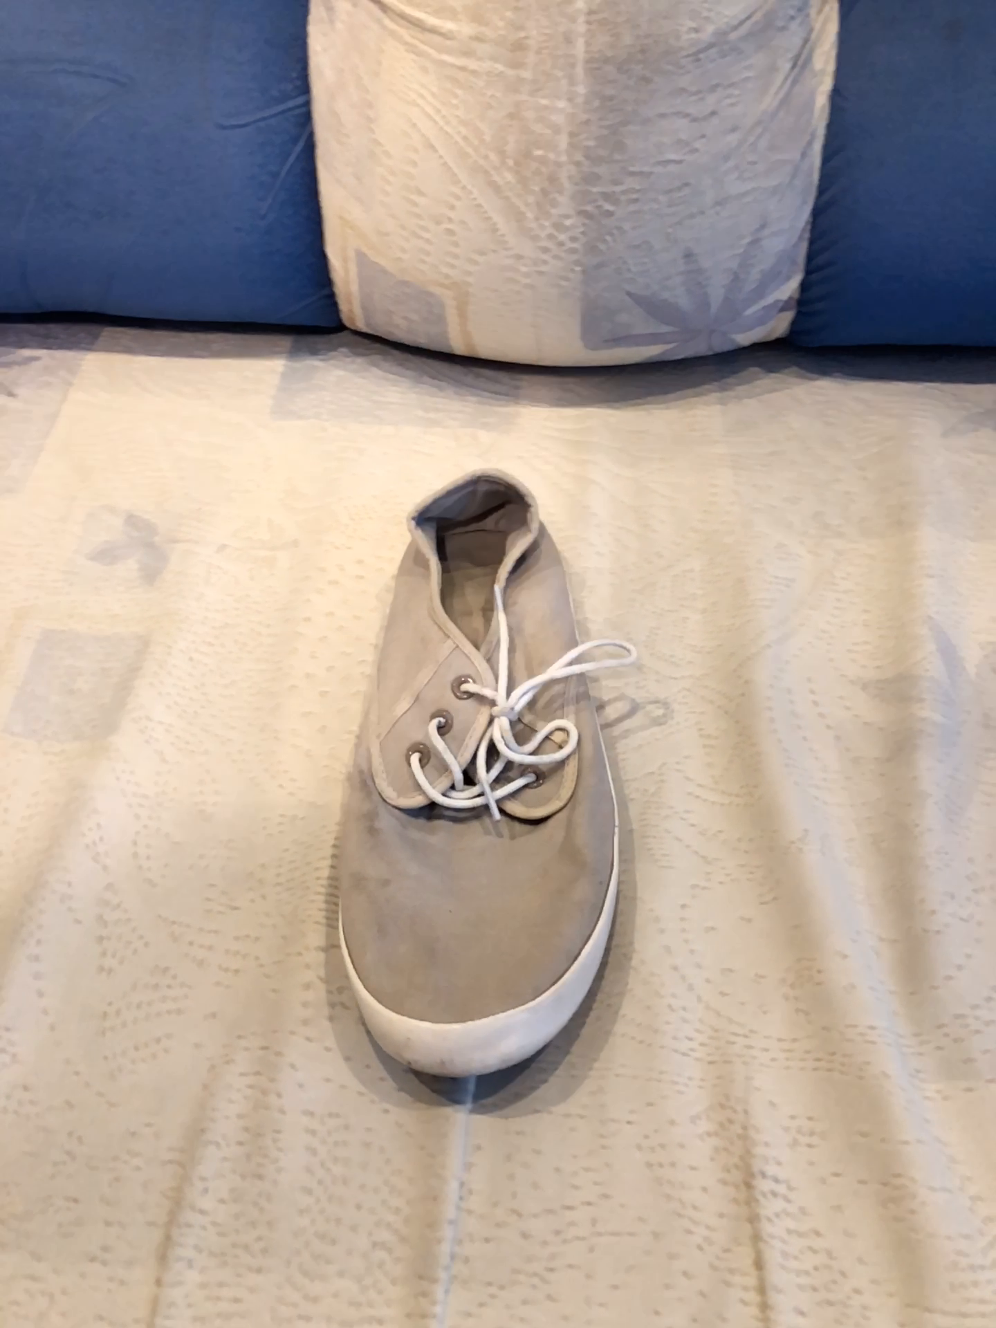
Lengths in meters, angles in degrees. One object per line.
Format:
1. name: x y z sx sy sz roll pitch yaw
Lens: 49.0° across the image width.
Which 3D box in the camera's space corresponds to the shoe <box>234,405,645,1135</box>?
1. shoe: -0.009 0.020 0.409 0.110 0.079 0.272 2 50 3
